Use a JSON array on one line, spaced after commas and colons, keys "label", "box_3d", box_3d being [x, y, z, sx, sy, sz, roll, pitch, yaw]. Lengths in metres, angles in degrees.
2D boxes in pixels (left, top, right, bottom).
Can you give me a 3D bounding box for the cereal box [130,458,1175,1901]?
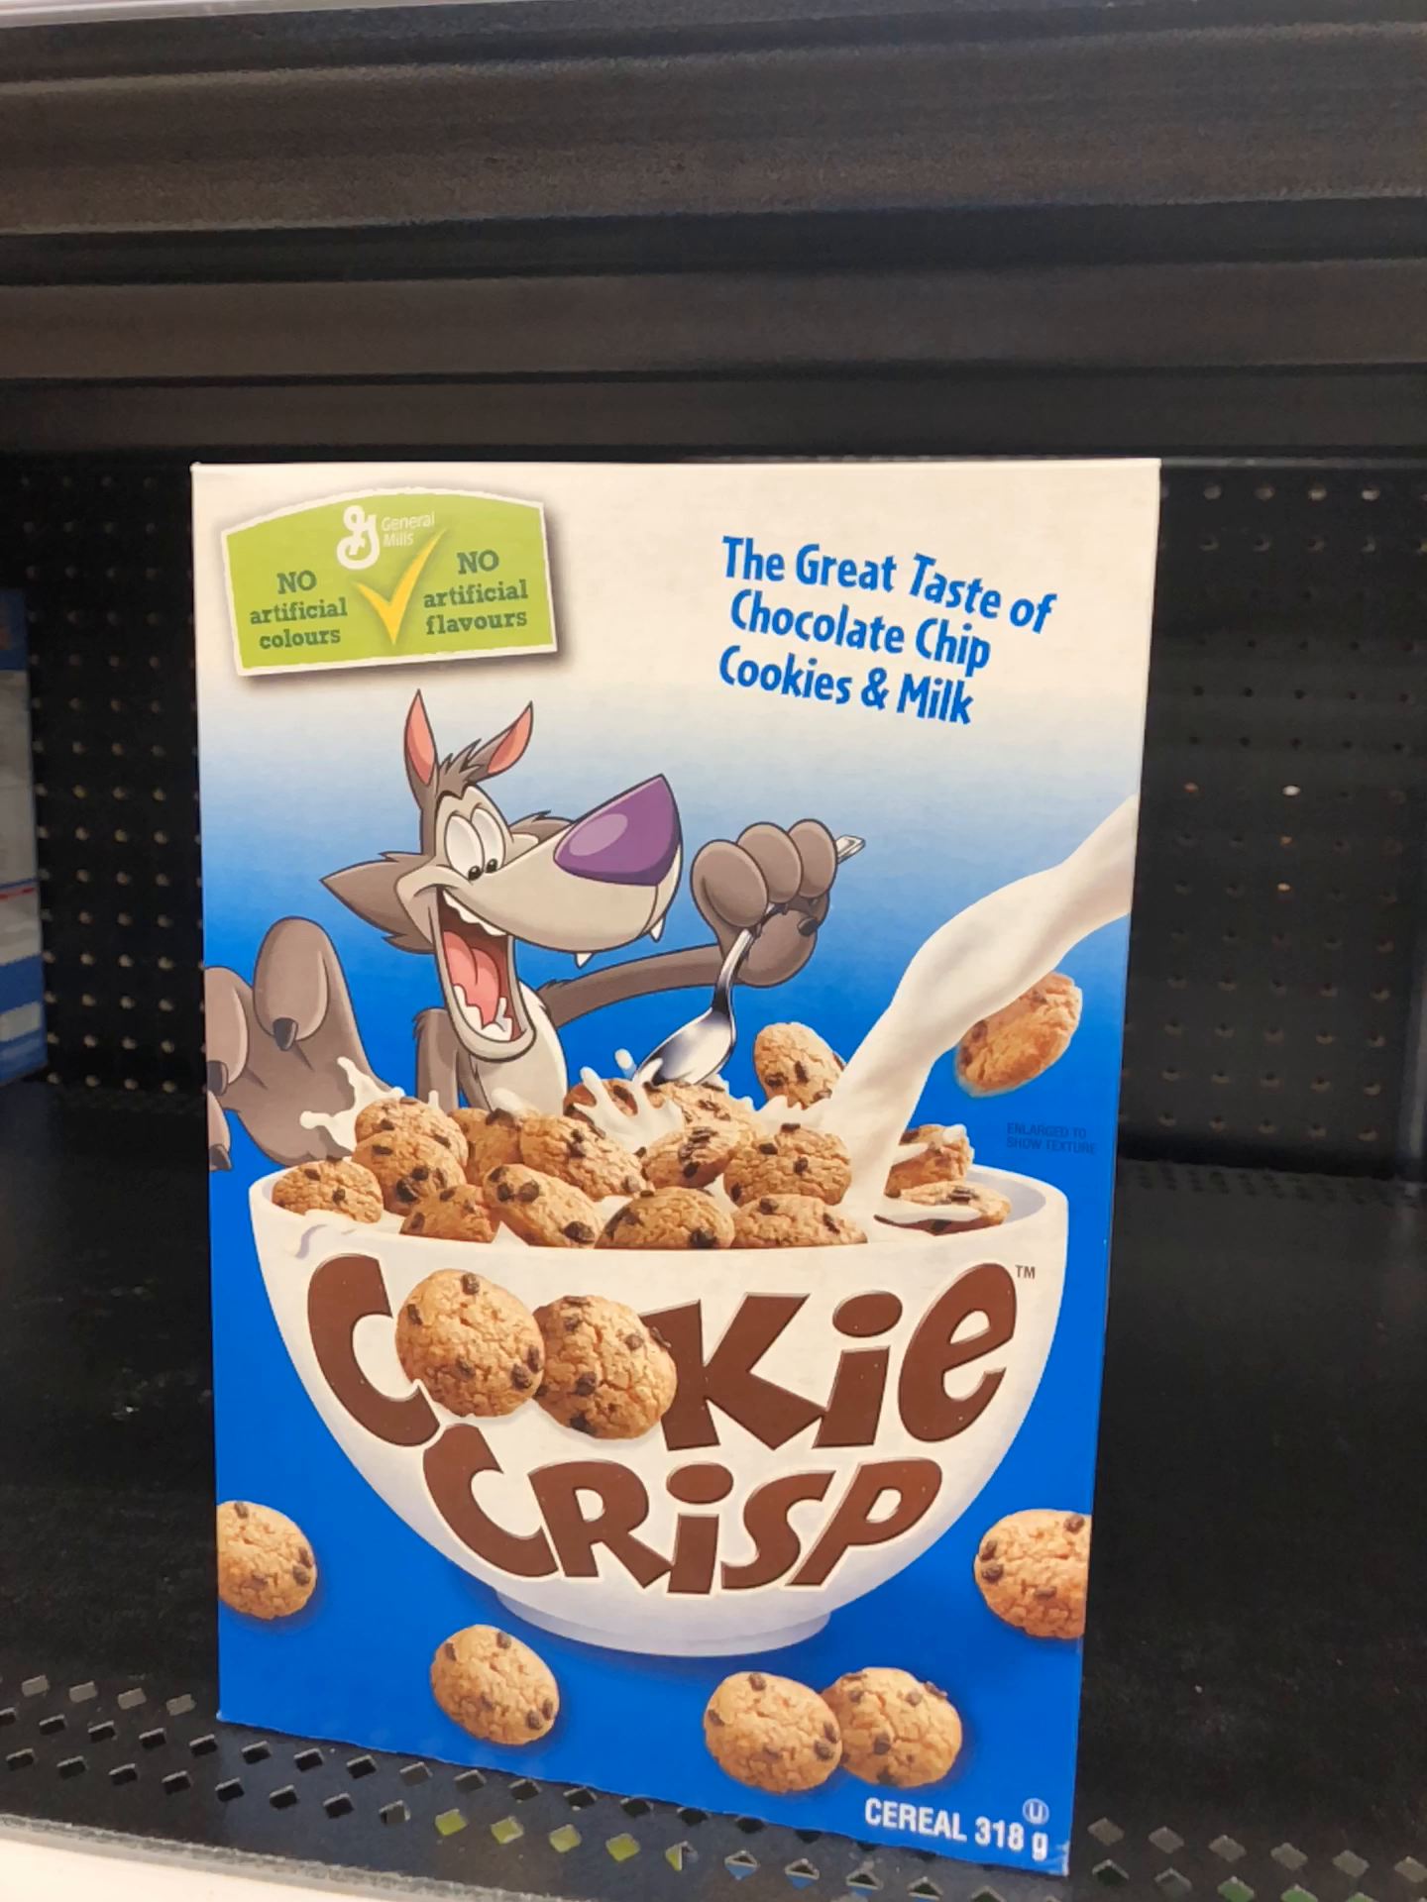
[{"label": "cereal box", "box_3d": [-0.014, 0.043, 0.343, 0.200, 0.279, 0.060, 3, 9, 13]}]
